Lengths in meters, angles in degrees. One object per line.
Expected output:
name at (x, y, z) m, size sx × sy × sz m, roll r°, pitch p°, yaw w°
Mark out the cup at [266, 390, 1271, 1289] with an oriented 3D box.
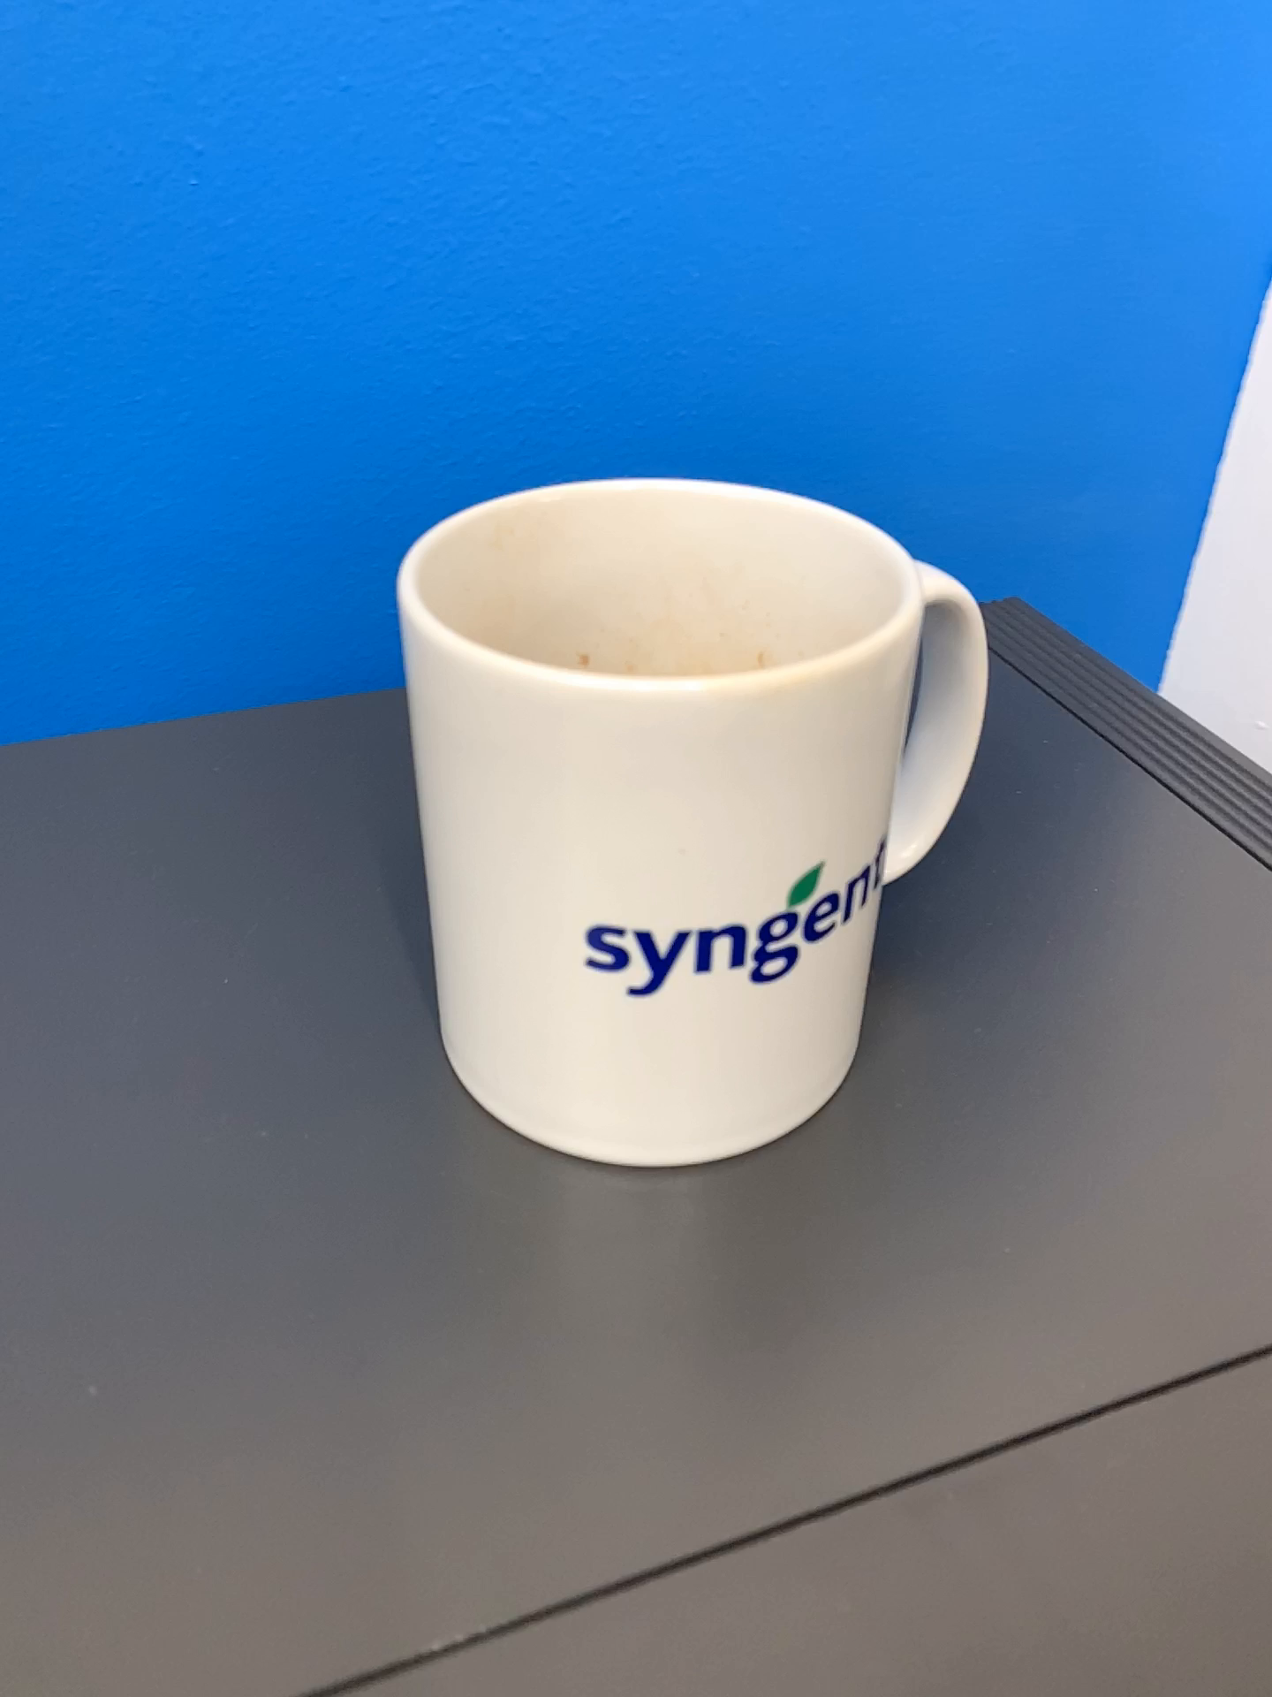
cup at (0.020, -0.013, 0.231) m, size 0.131 × 0.094 × 0.089 m, roll -19°, pitch 40°, yaw -26°
